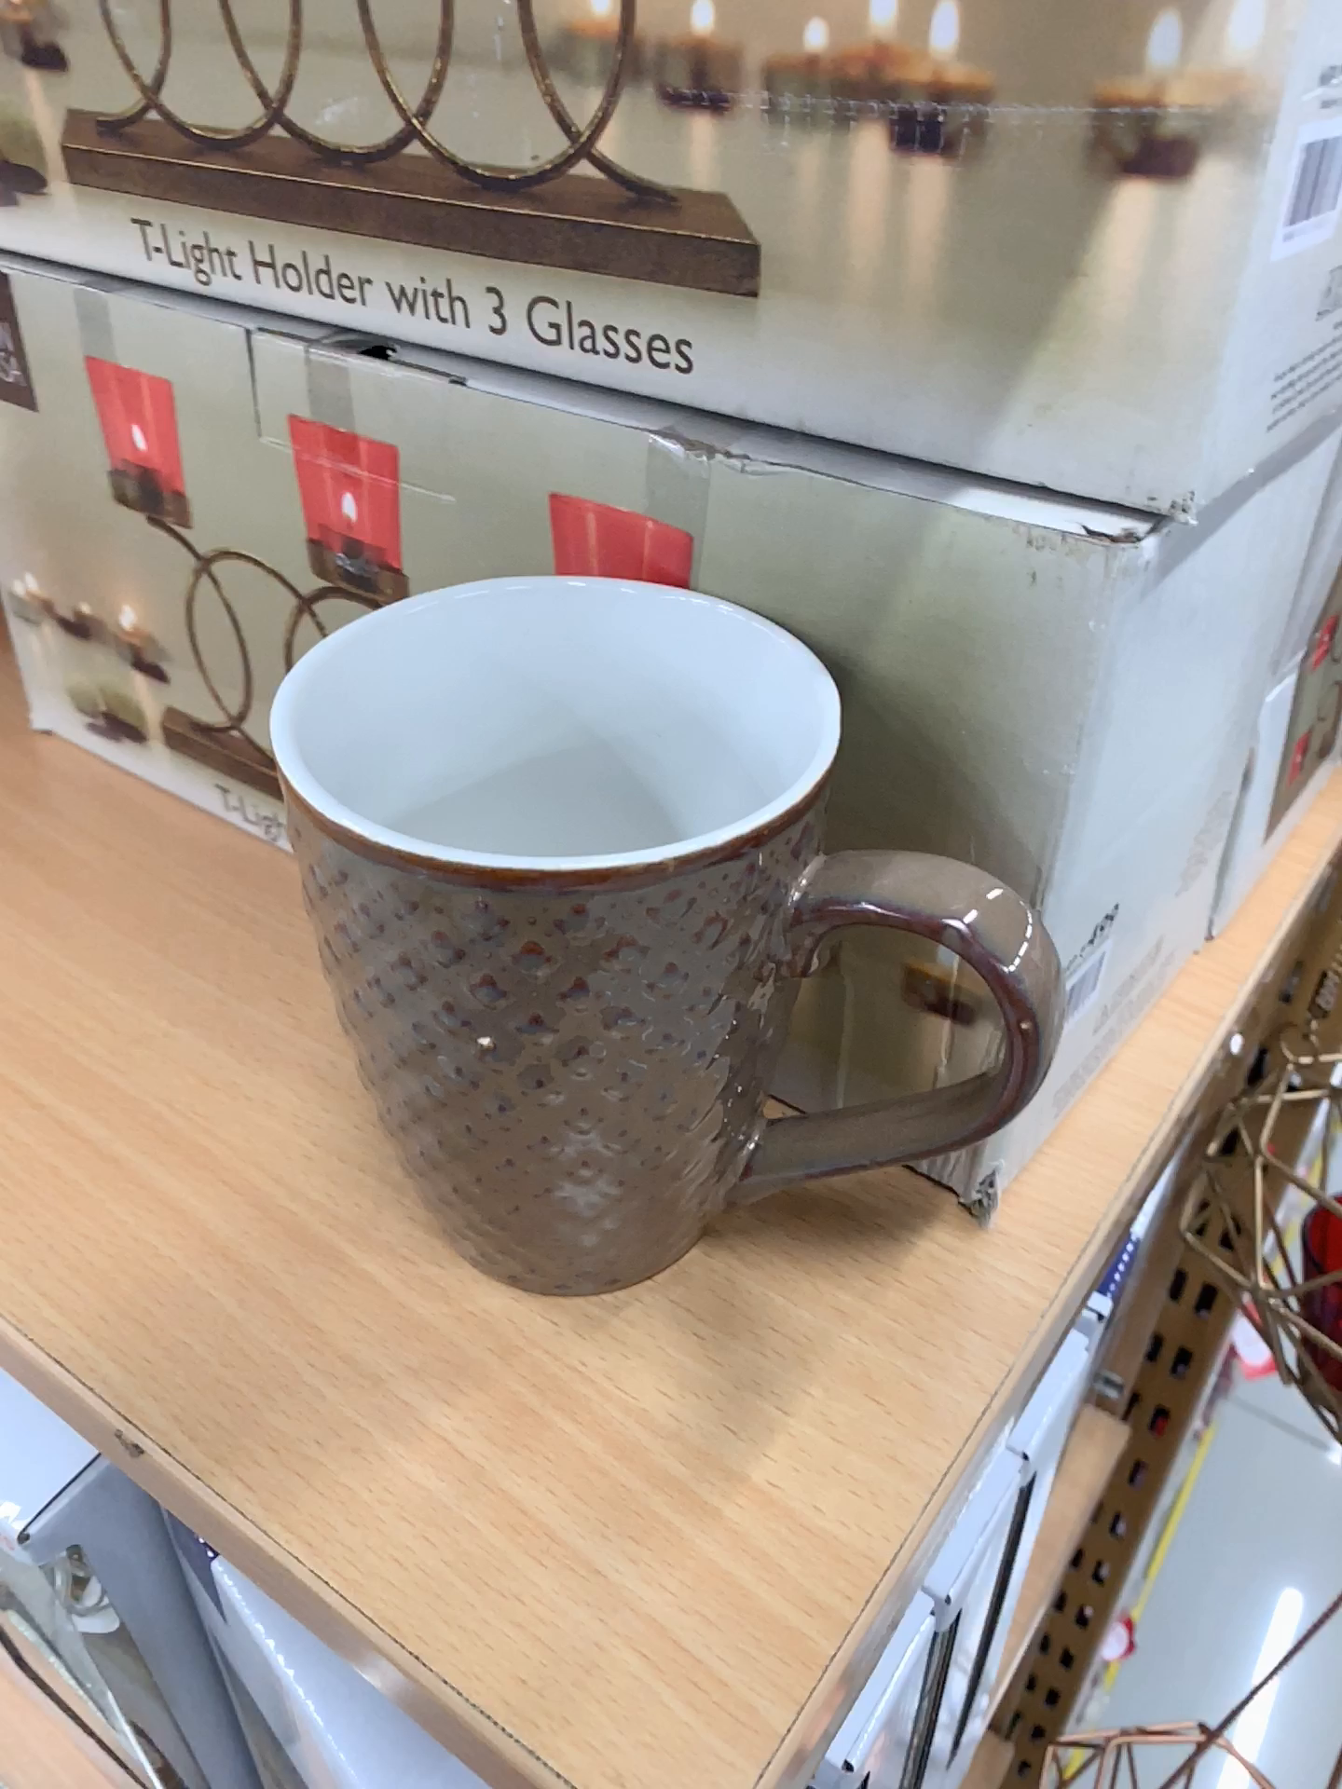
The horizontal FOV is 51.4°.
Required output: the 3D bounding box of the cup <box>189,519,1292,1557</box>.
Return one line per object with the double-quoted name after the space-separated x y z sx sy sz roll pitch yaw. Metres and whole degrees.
0.010 0.011 0.223 0.130 0.090 0.090 22 38 24 "cup"
